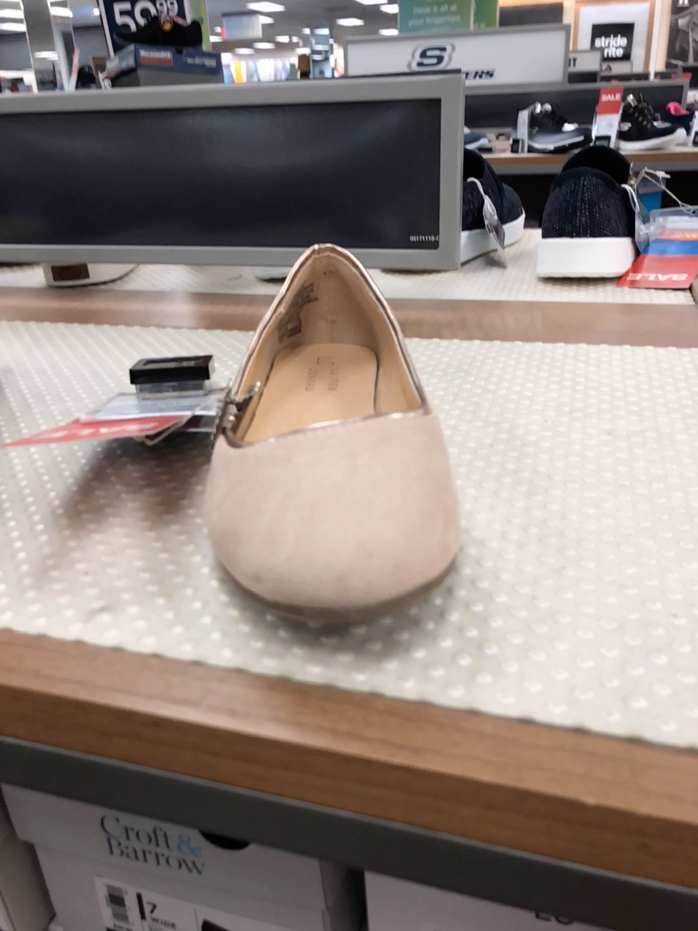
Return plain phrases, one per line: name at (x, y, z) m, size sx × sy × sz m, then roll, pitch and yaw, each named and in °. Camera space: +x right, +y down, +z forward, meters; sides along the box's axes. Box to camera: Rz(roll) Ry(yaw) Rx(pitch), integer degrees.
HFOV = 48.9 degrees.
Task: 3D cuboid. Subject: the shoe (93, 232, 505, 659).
shoe at (-0.012, -0.032, 0.275) m, size 0.085 × 0.064 × 0.229 m, roll -3°, pitch 25°, yaw 0°
